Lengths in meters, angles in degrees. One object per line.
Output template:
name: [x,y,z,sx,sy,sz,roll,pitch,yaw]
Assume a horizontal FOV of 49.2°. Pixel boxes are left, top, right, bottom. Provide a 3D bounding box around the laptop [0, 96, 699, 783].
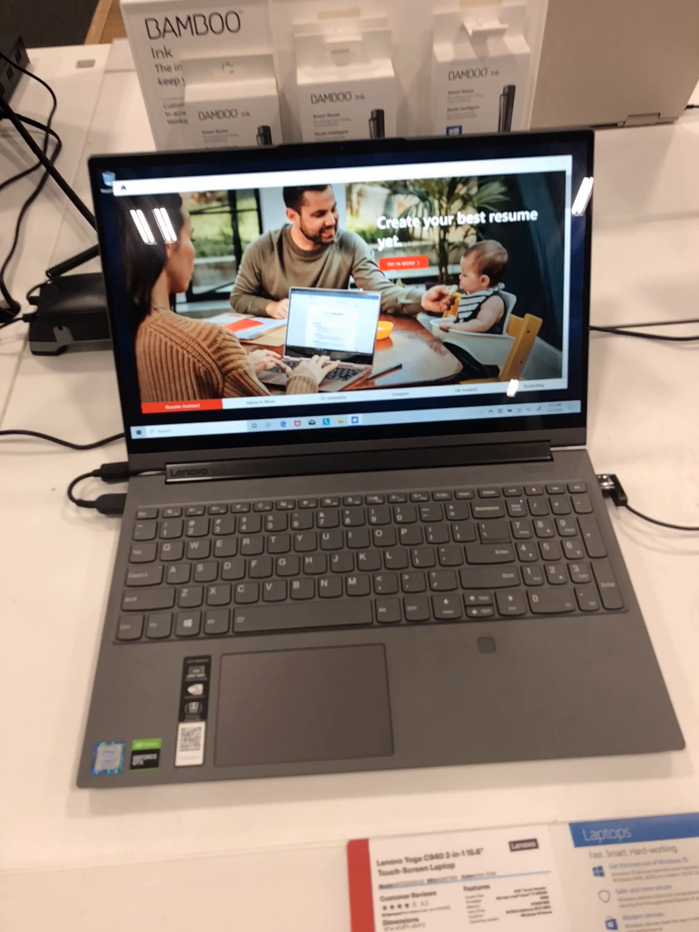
laptop: [-0.002,-0.033,0.488,0.336,0.169,0.375,-3,57,-1]
